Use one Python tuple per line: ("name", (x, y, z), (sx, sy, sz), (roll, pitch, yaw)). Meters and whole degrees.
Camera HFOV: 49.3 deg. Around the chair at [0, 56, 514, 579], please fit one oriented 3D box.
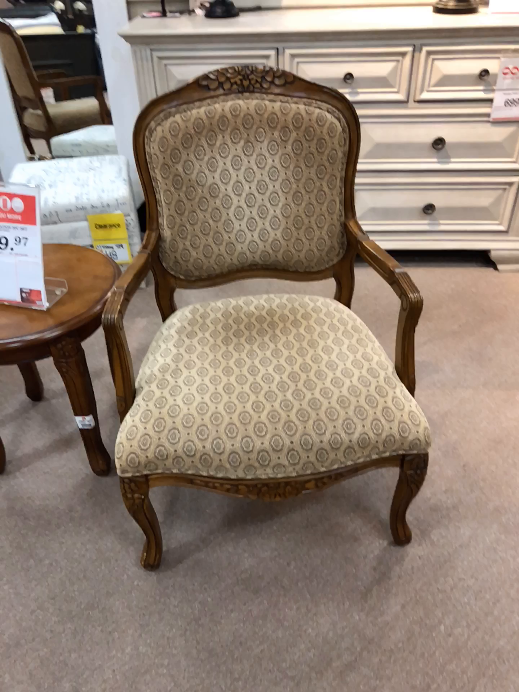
("chair", (-0.013, -0.064, 1.438), (0.780, 1.062, 0.705), (-4, 37, -2))
